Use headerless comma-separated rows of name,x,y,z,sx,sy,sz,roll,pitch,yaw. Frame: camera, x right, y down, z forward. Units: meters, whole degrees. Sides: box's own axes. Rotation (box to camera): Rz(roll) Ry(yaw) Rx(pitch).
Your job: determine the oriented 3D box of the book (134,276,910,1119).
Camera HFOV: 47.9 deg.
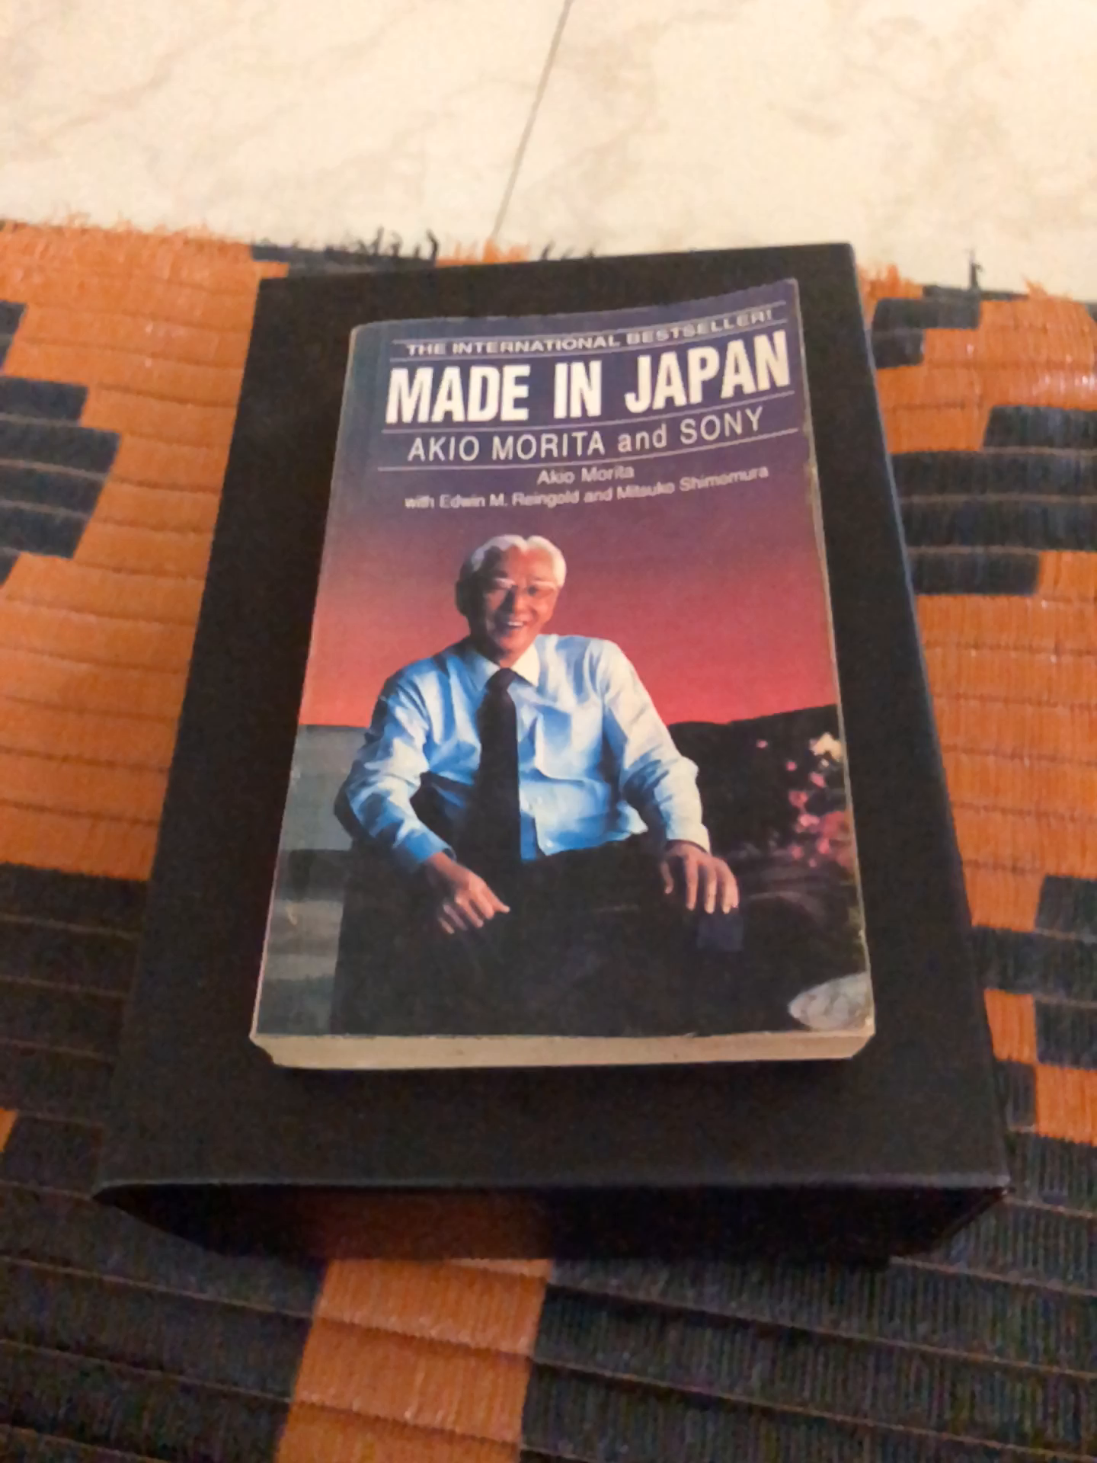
book,-0.003,-0.014,0.244,0.120,0.030,0.170,-3,60,7
